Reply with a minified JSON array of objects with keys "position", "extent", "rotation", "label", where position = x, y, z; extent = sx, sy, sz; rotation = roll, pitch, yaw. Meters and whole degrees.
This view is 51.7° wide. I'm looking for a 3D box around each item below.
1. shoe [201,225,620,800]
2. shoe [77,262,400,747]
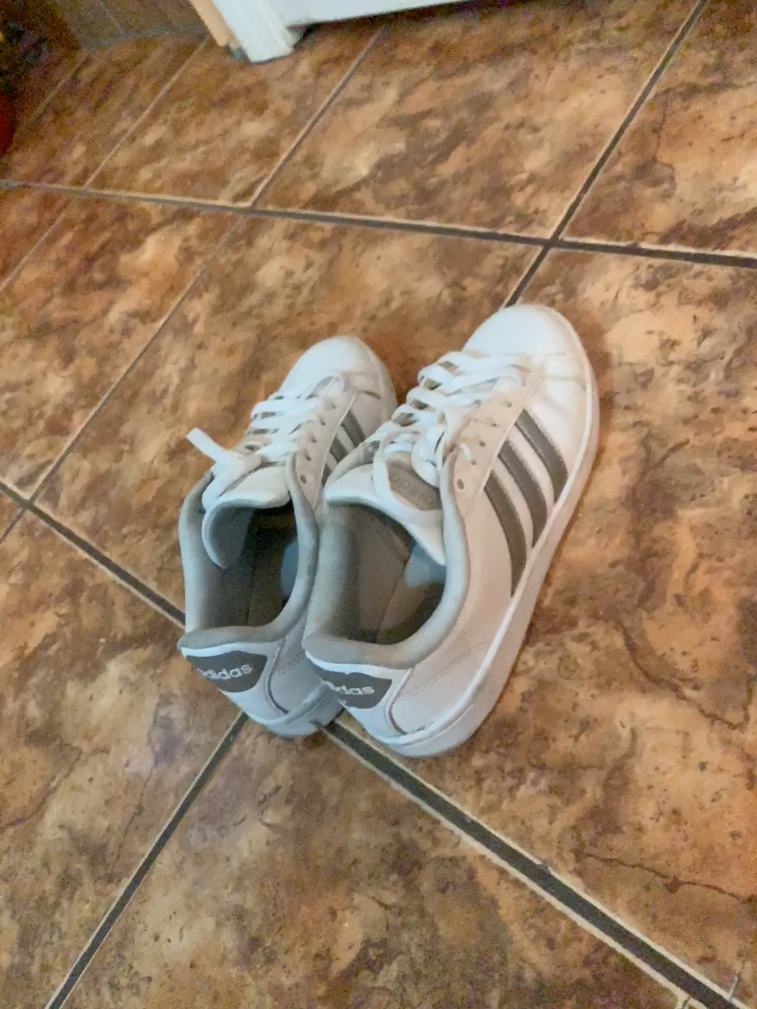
[{"position":[0.032,-0.004,0.400],"extent":[0.102,0.104,0.256],"rotation":[5,62,35],"label":"shoe"},{"position":[-0.066,-0.003,0.462],"extent":[0.101,0.104,0.257],"rotation":[-12,53,26],"label":"shoe"}]
